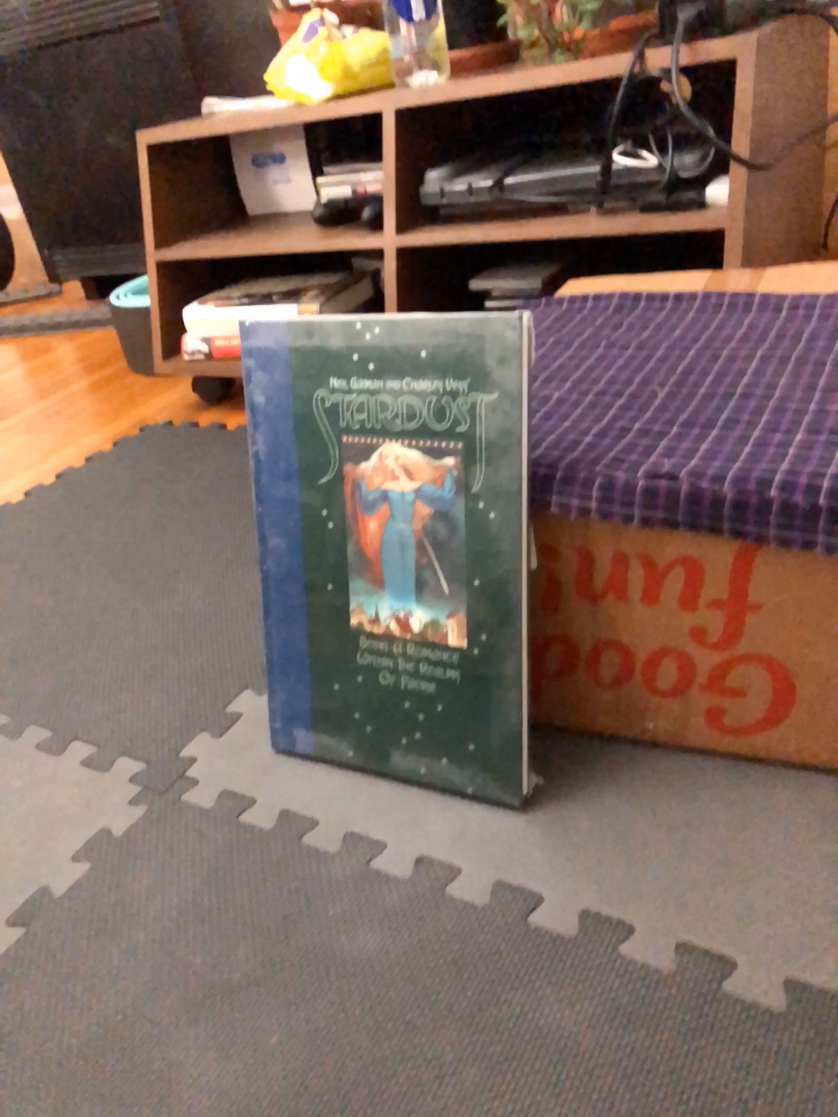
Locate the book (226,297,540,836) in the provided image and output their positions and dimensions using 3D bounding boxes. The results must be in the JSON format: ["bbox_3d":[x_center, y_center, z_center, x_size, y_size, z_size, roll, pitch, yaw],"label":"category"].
[{"bbox_3d":[-0.024,0.005,0.604,0.210,0.329,0.020,6,16,29],"label":"book"}]
